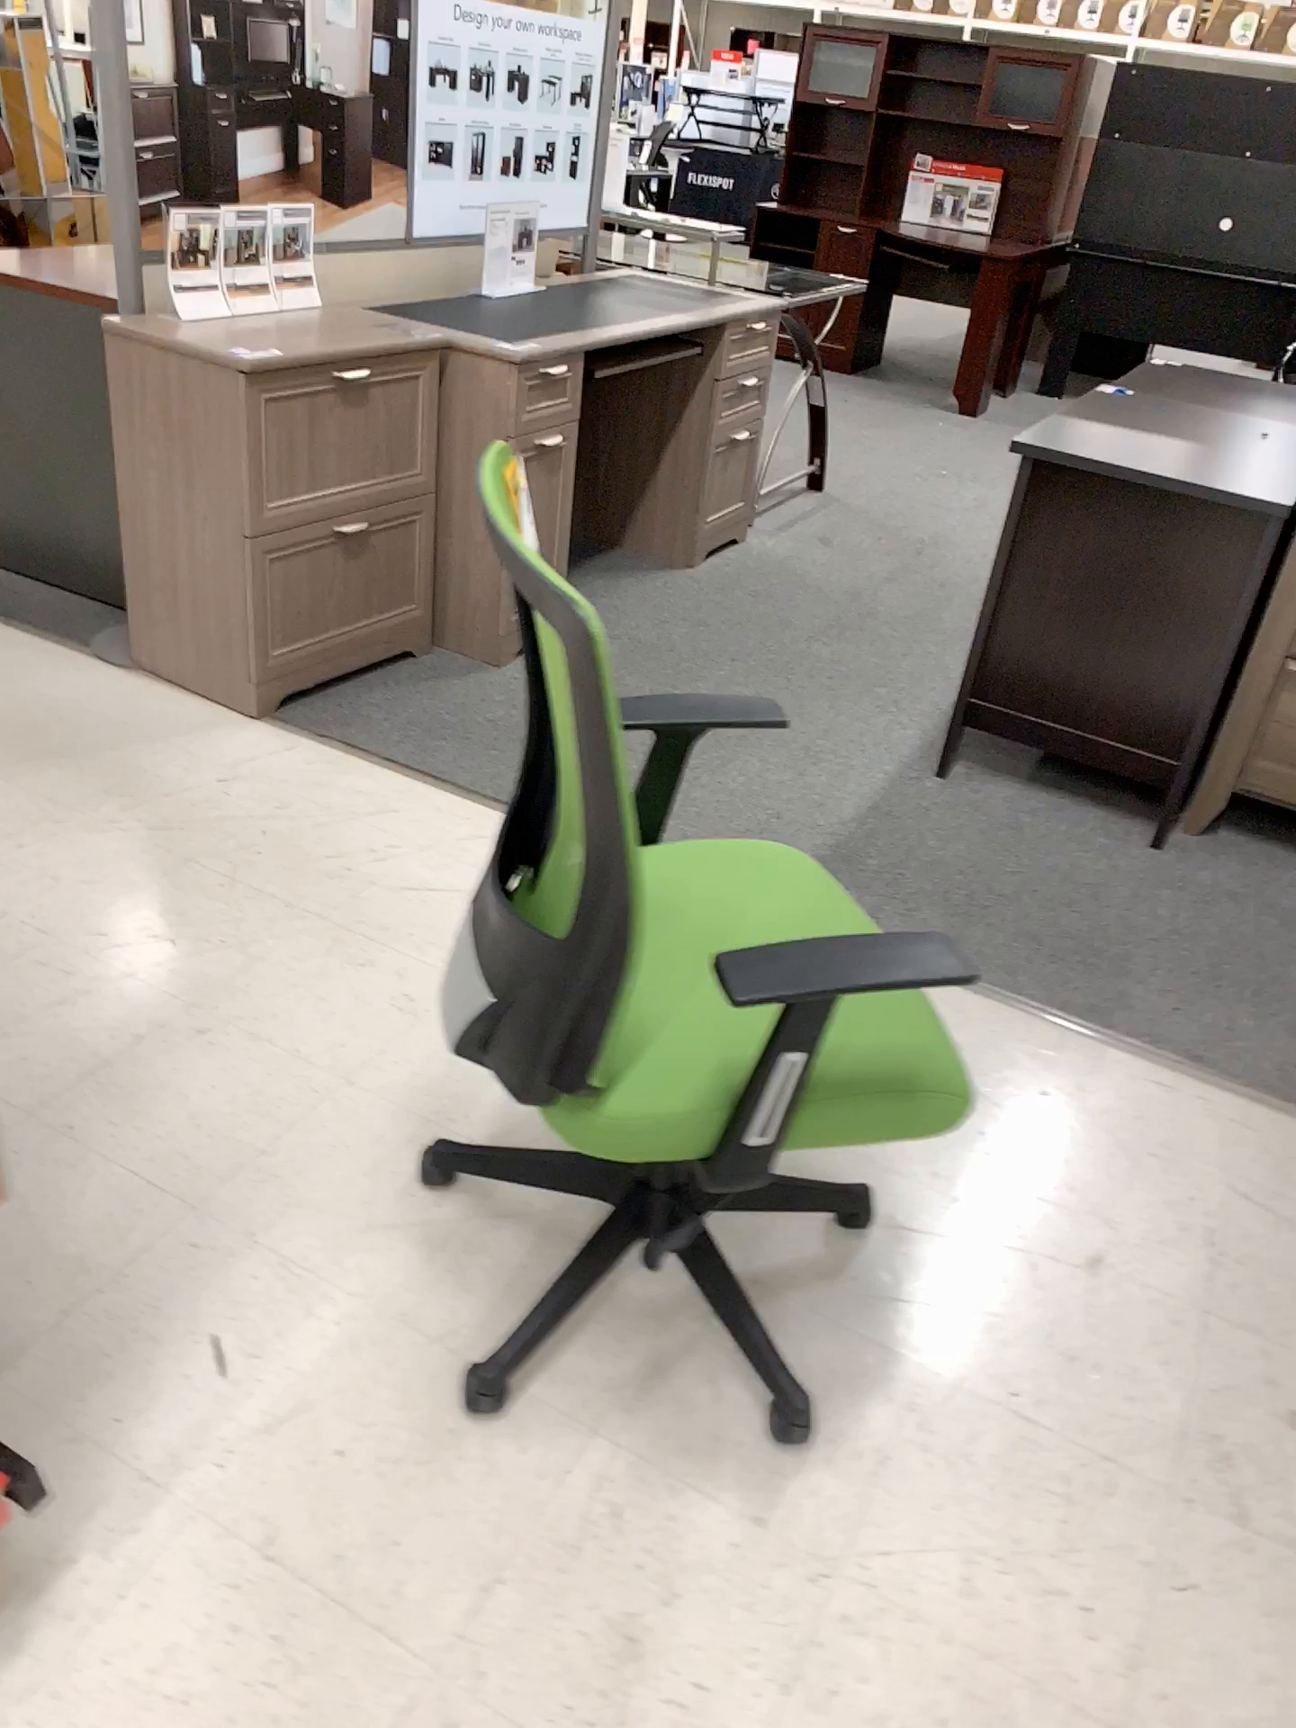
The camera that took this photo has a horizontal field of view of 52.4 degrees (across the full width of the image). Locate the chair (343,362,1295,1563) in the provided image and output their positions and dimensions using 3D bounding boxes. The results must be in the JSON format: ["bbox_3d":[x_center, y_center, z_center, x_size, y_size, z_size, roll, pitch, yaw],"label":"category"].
[{"bbox_3d":[0.049,0.071,1.423,0.670,0.994,0.673,-3,32,-18],"label":"chair"}]
